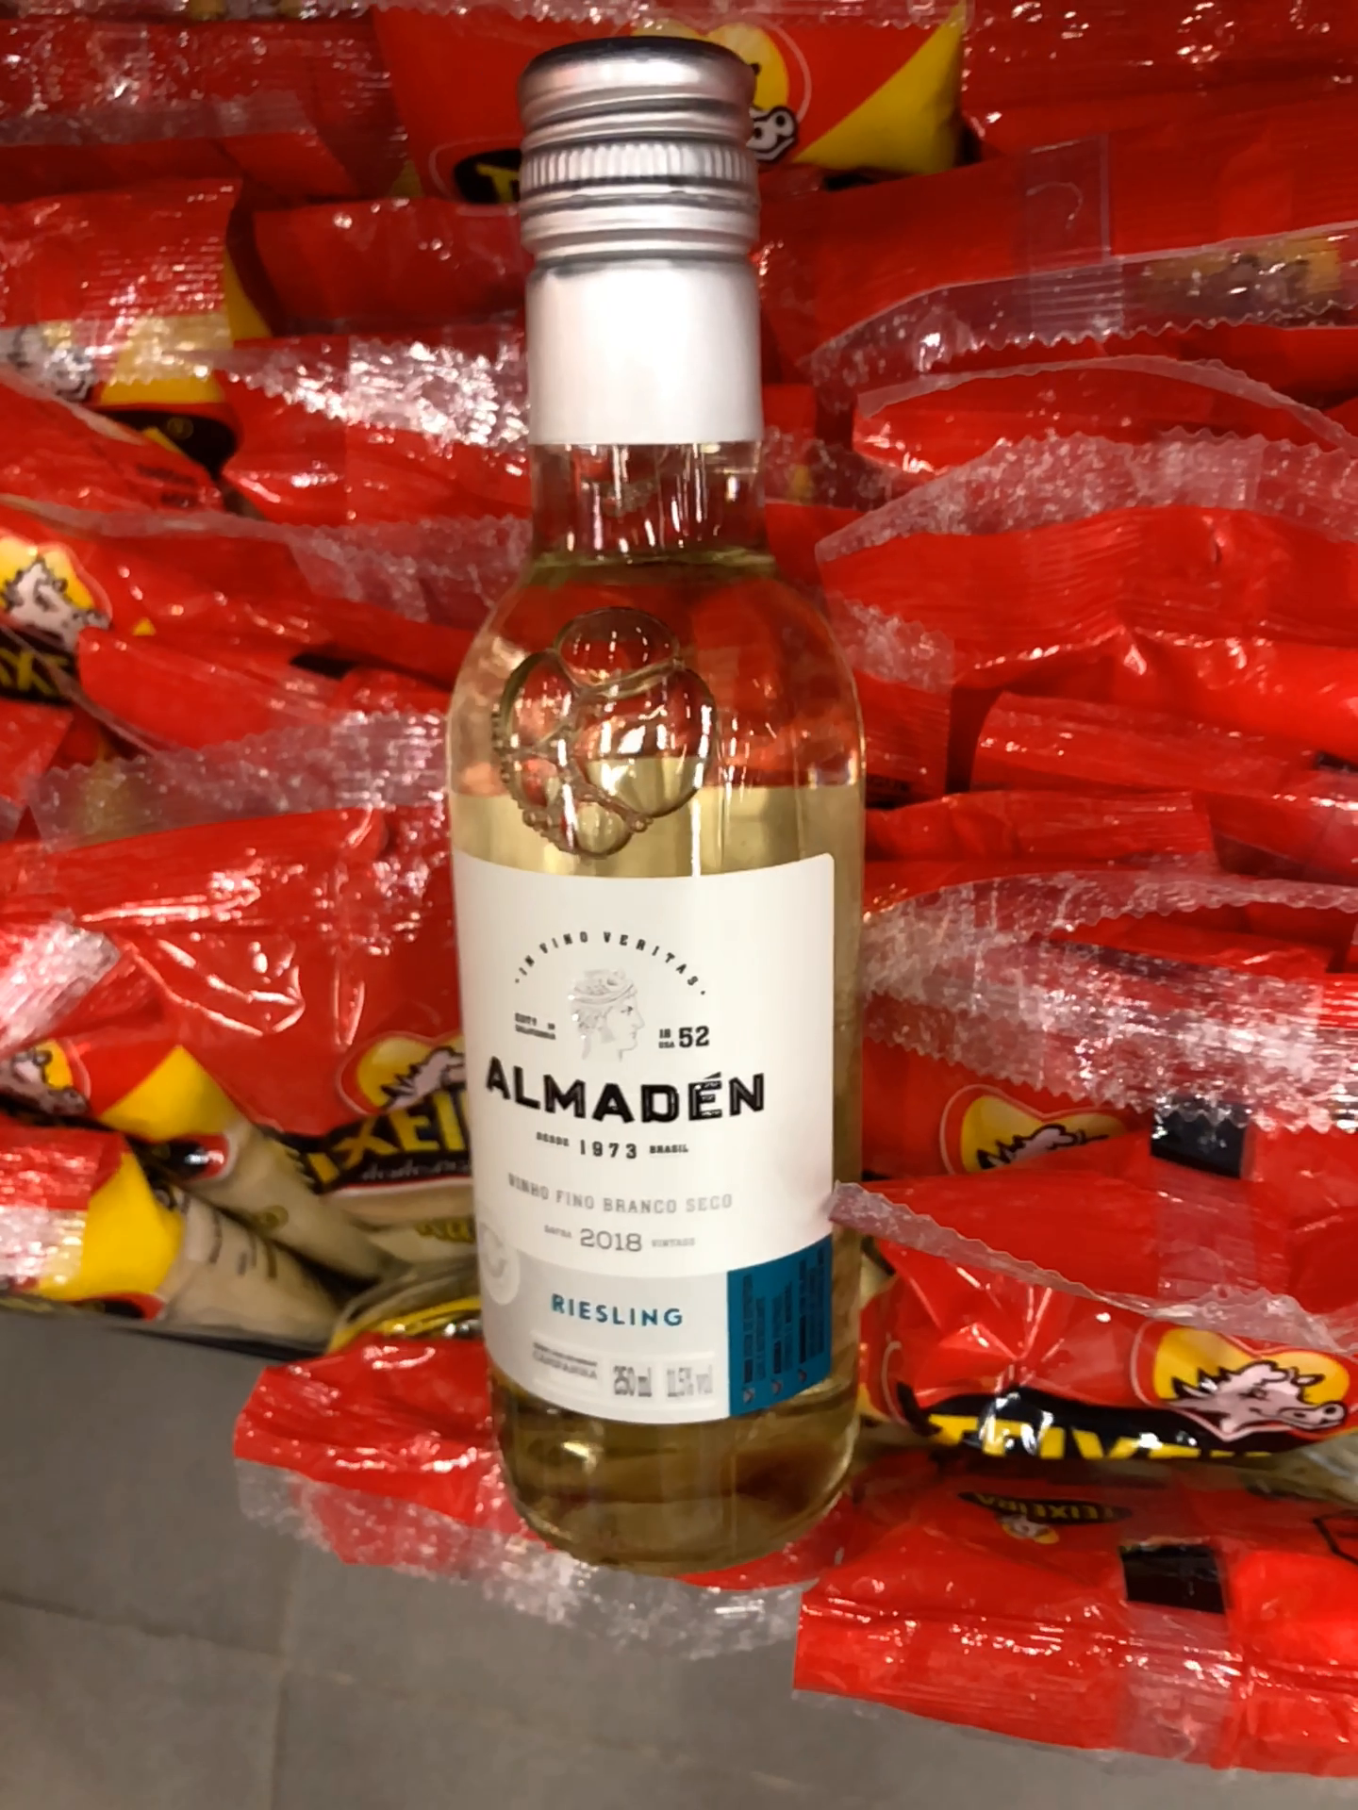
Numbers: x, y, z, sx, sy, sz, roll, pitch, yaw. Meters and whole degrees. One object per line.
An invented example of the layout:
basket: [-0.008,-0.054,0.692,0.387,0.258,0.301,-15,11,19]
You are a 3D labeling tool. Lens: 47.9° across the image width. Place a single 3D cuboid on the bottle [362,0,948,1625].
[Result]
bottle: [-0.002,-0.013,0.205,0.060,0.040,0.210,5,104,16]
